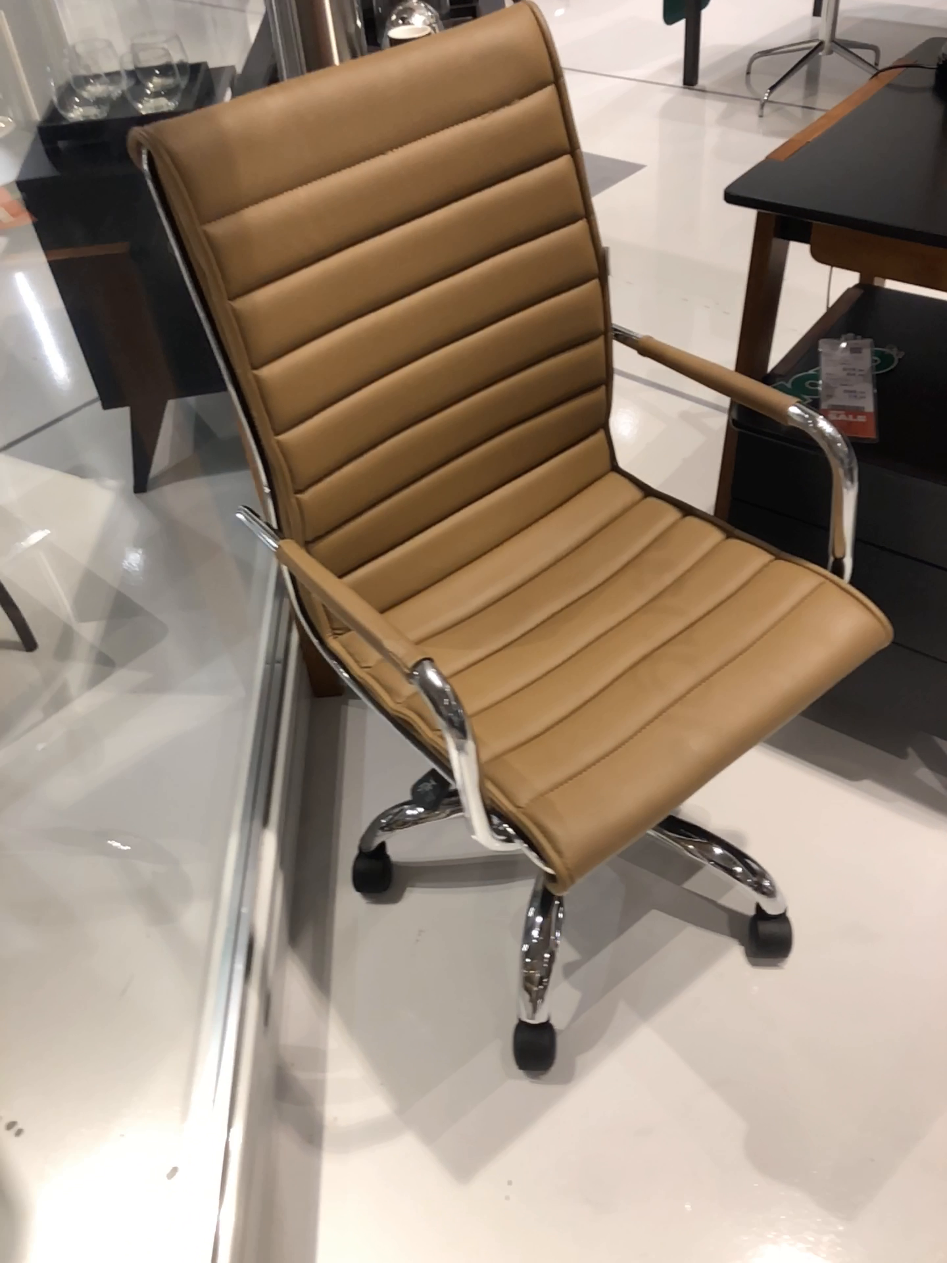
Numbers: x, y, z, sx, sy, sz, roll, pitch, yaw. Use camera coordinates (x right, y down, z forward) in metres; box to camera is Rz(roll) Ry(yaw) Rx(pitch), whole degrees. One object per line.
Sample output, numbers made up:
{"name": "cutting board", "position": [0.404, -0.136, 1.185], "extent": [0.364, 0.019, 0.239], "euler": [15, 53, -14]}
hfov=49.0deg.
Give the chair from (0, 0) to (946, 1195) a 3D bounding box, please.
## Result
{"name": "chair", "position": [0.078, -0.034, 1.098], "extent": [0.601, 0.943, 0.613], "euler": [-31, 48, -23]}
